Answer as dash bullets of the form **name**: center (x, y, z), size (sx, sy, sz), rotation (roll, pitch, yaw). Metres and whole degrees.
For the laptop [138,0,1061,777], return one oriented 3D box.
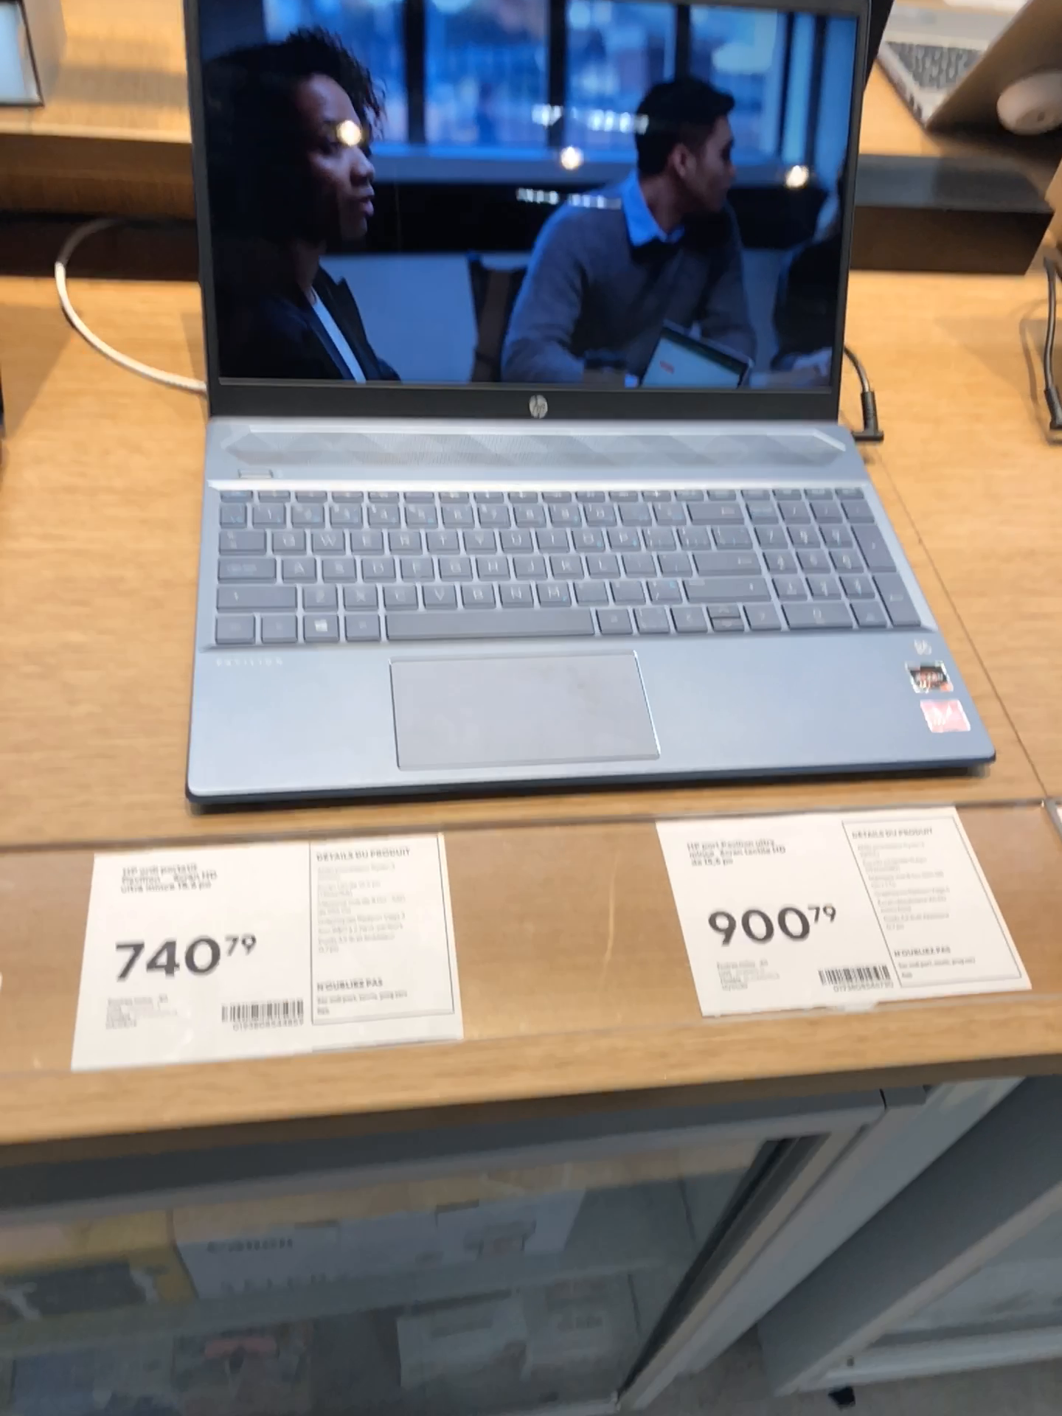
- **laptop**: center (0.021, -0.174, 0.537), size (0.338, 0.185, 0.357), rotation (-2, 50, -11)
